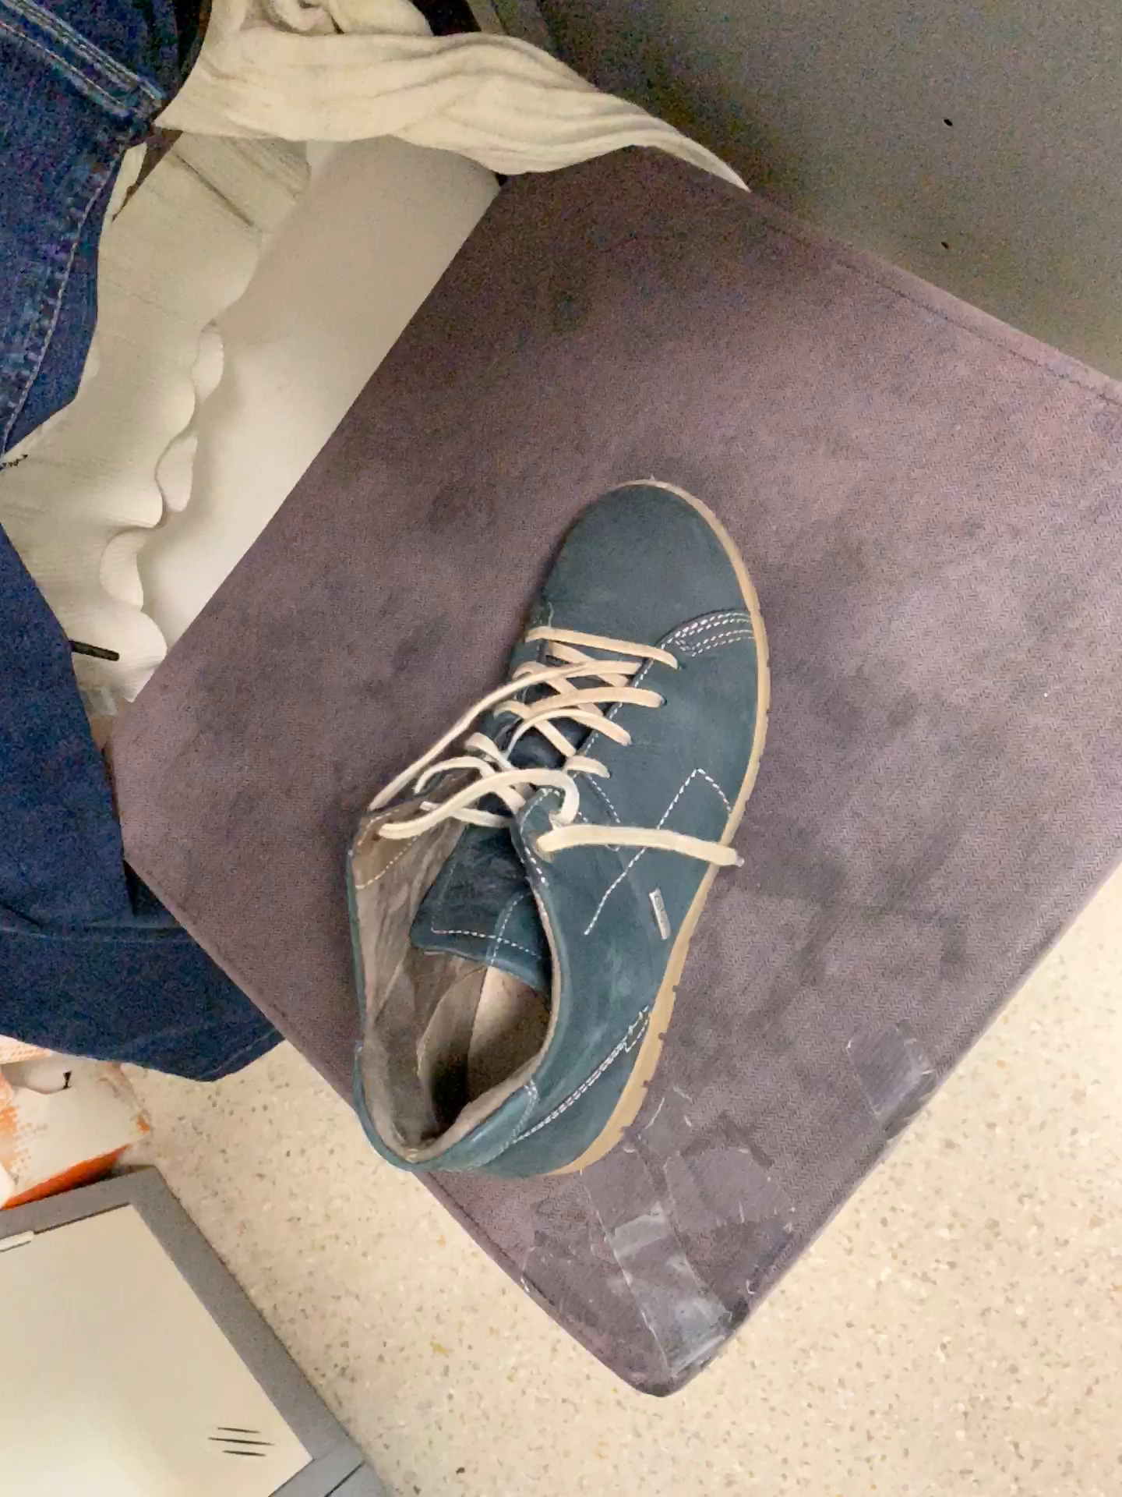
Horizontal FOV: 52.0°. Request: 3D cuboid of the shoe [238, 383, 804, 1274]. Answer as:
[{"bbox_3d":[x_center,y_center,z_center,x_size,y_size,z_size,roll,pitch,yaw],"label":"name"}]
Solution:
[{"bbox_3d":[0.001,0.023,0.402,0.103,0.143,0.245,11,84,20],"label":"shoe"}]
